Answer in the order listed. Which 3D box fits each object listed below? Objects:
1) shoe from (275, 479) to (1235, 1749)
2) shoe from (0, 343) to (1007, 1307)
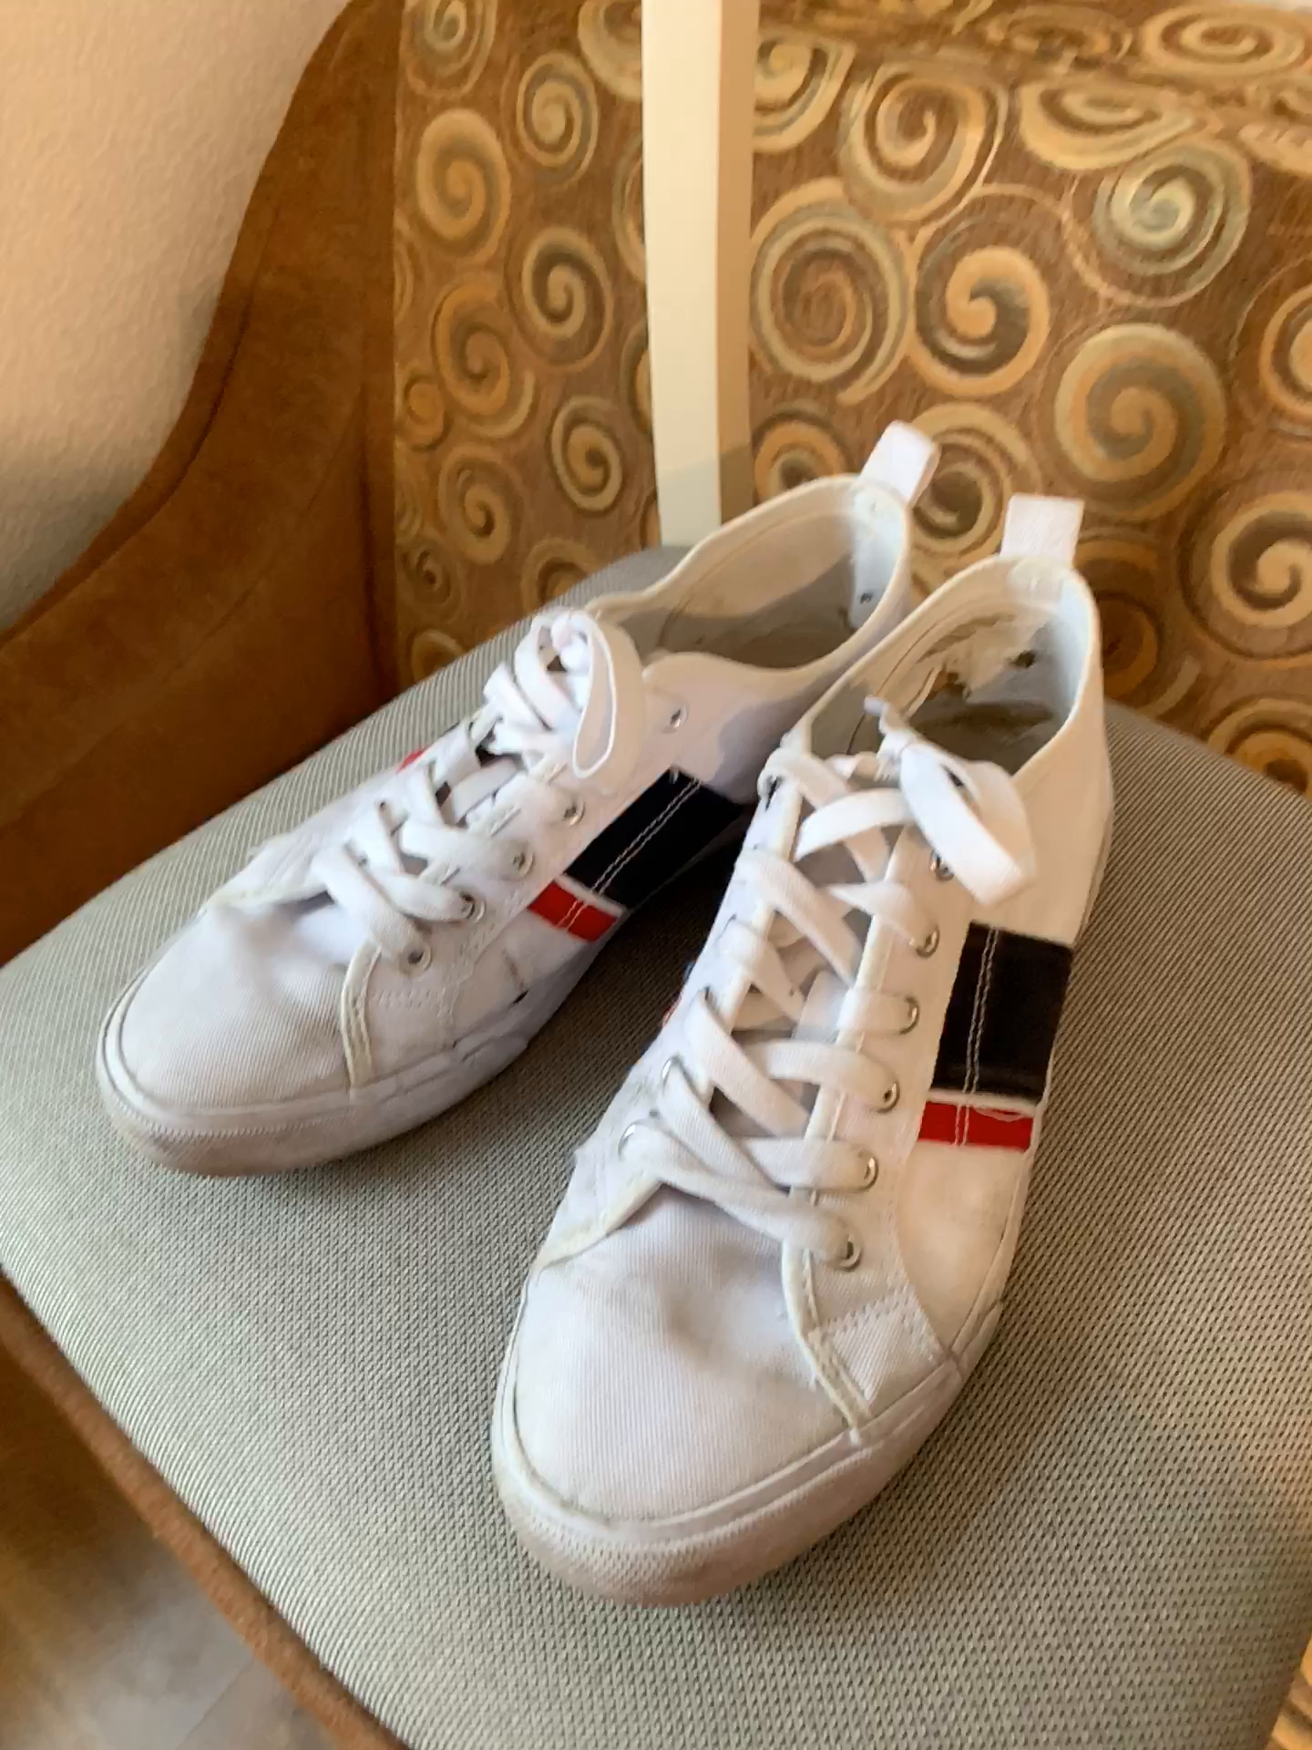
[{"bbox_3d":[0.043,0.036,0.327,0.110,0.090,0.271,17,60,20],"label":"shoe"},{"bbox_3d":[-0.046,-0.026,0.392,0.280,0.090,0.120,-36,57,-16],"label":"shoe"}]
